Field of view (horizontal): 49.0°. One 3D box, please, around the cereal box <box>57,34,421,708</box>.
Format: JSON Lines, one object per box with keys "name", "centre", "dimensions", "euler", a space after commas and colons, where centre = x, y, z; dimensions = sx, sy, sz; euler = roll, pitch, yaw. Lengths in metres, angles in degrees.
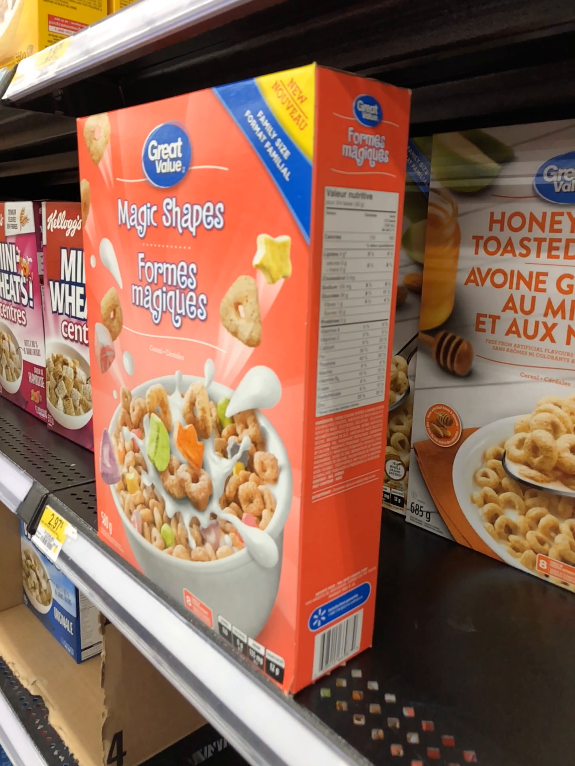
{"name": "cereal box", "centre": [-0.049, -0.016, 0.408], "dimensions": [0.070, 0.319, 0.261], "euler": [-12, 18, -40]}
